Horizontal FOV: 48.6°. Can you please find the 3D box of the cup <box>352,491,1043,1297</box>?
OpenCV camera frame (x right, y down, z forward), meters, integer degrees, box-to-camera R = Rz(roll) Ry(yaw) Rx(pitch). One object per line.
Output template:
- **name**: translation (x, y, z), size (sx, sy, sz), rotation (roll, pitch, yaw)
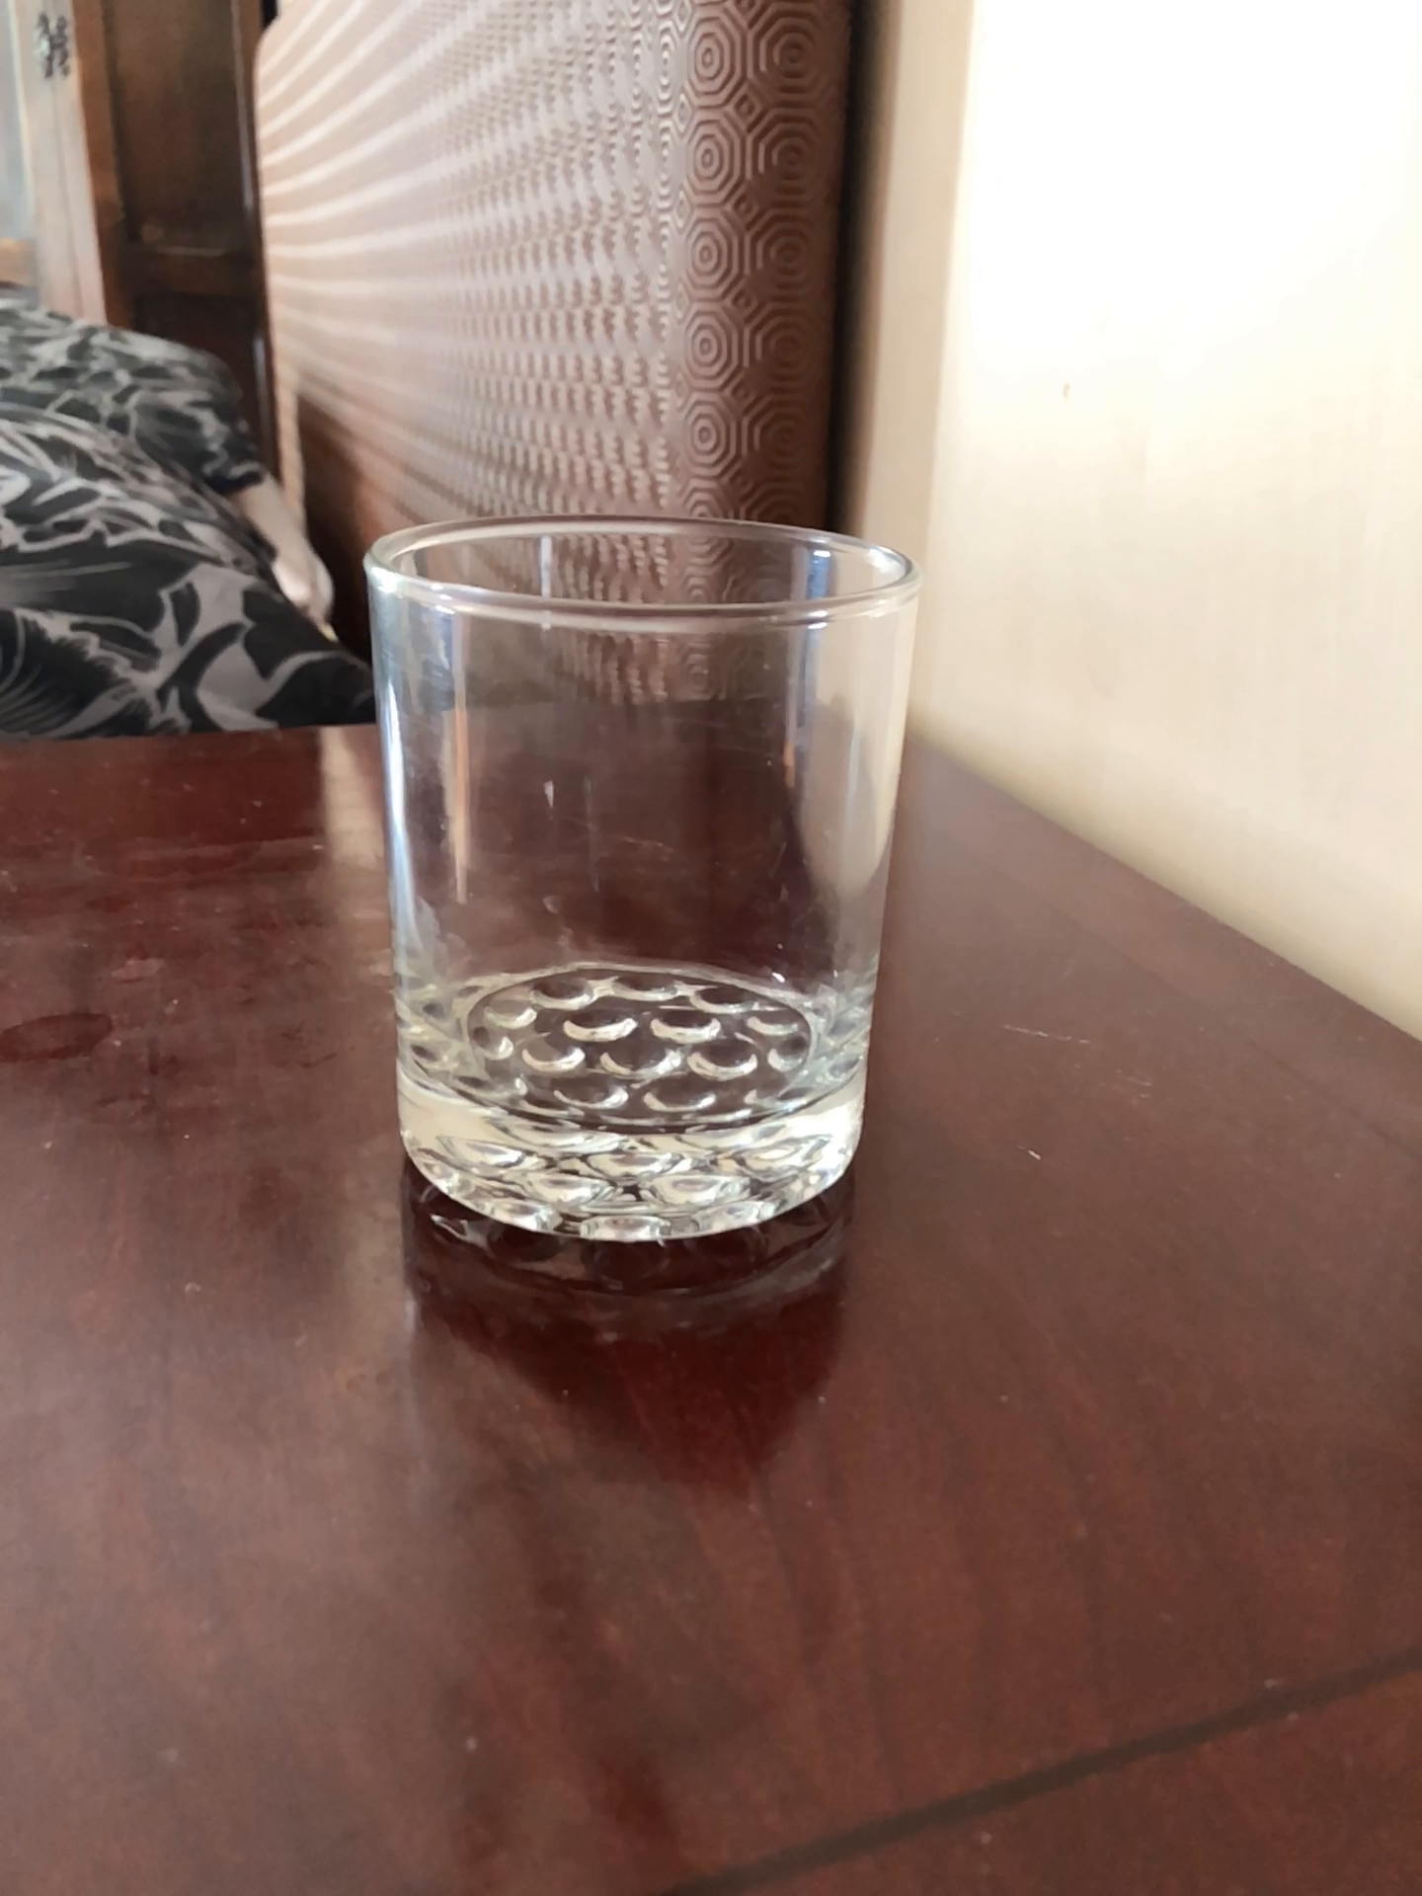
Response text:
- **cup**: translation (-0.008, -0.014, 0.240), size (0.082, 0.097, 0.081), rotation (2, 22, -1)
